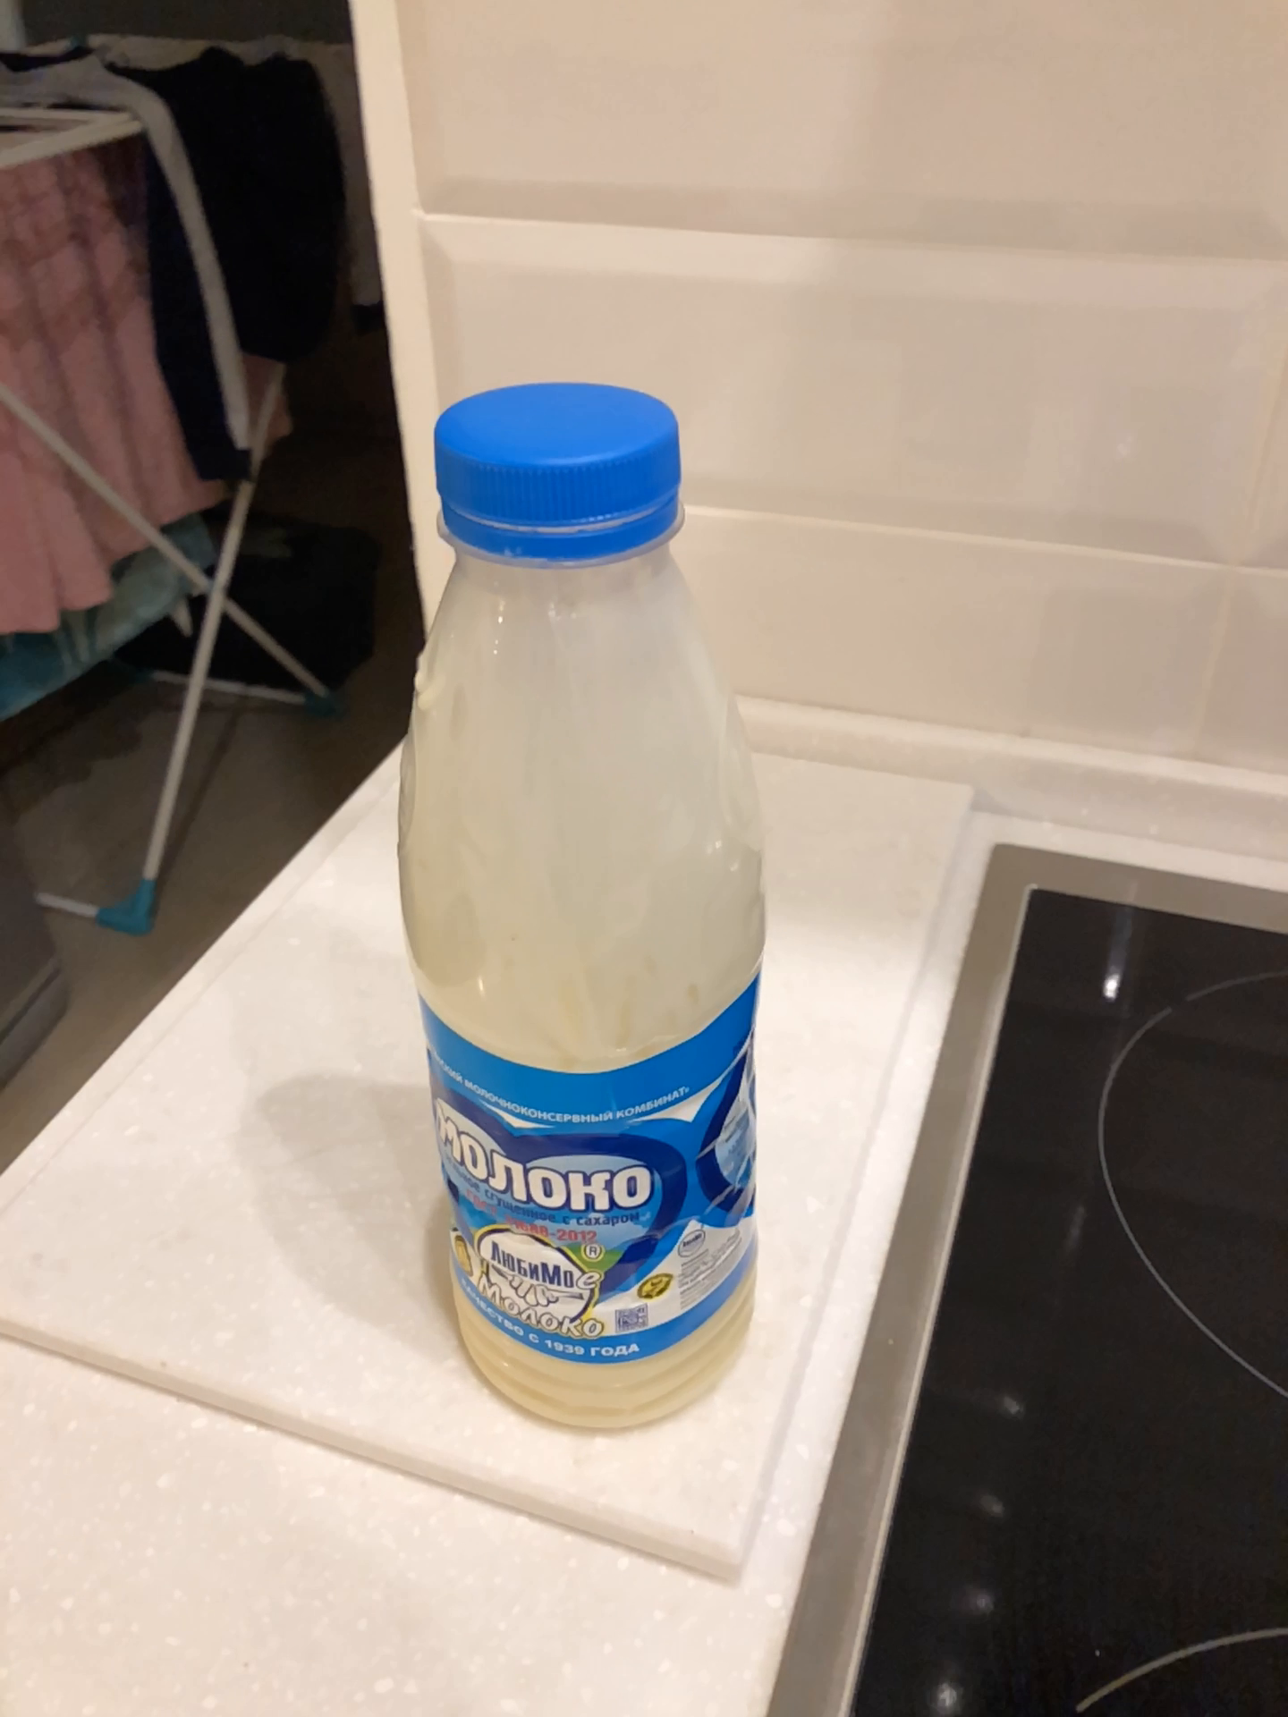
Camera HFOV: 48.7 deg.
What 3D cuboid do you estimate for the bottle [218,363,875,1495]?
[{"bbox_3d":[-0.009,0.022,0.290,0.080,0.213,0.081,-1,36,1],"label":"bottle"}]
